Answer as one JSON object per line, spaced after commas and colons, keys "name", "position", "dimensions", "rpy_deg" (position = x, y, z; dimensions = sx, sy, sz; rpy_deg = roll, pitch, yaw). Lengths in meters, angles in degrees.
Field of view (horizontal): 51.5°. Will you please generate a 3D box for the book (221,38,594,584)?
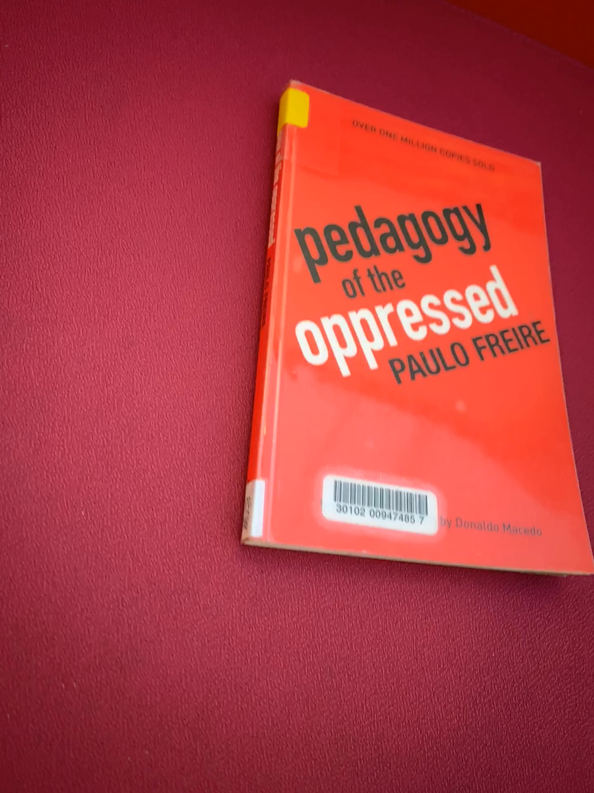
{"name": "book", "position": [0.063, -0.044, 0.292], "dimensions": [0.170, 0.030, 0.241], "rpy_deg": [10, 67, -16]}
